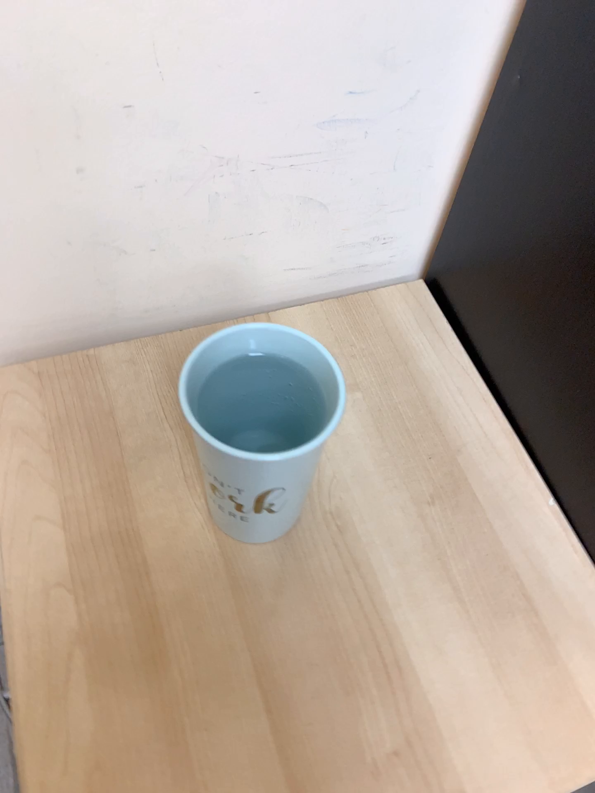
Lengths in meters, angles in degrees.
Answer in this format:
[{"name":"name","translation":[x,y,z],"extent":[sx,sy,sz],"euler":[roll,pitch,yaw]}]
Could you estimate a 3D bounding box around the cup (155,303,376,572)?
[{"name":"cup","translation":[-0.020,0.035,0.394],"extent":[0.100,0.156,0.090],"euler":[13,57,3]}]
